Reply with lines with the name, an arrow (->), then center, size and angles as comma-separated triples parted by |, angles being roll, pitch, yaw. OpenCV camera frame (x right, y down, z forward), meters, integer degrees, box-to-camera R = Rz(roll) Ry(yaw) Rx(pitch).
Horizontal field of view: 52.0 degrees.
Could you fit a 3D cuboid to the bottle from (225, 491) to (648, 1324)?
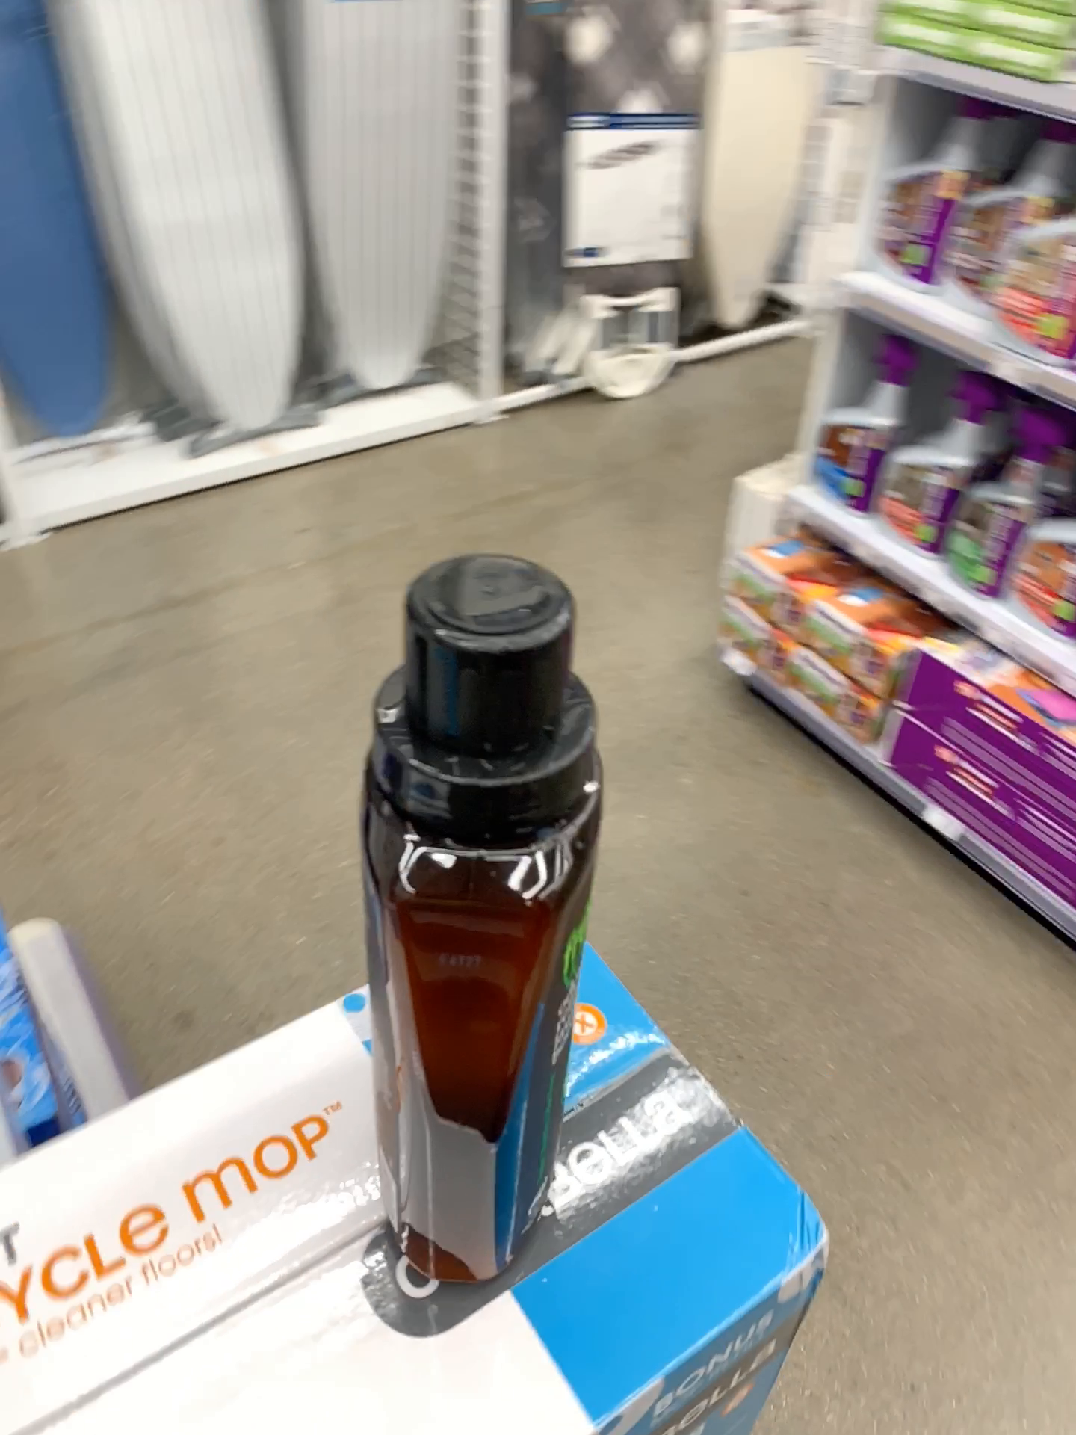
bottle -> -0.017, 0.061, 0.291 | 0.070, 0.209, 0.101 | 5, 40, 3
